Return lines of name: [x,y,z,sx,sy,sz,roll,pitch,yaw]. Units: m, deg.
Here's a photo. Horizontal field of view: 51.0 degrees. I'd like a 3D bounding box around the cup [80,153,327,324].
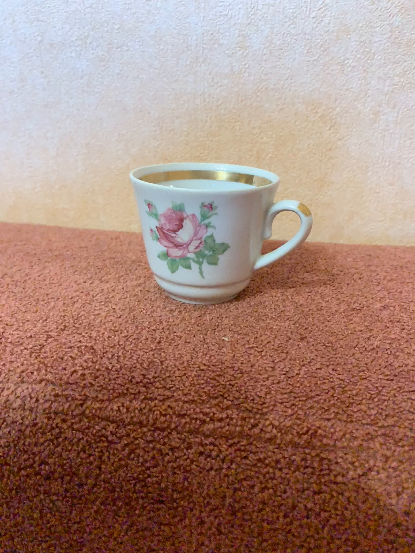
cup: [0.002,-0.023,0.193,0.086,0.047,0.067,9,26,19]
